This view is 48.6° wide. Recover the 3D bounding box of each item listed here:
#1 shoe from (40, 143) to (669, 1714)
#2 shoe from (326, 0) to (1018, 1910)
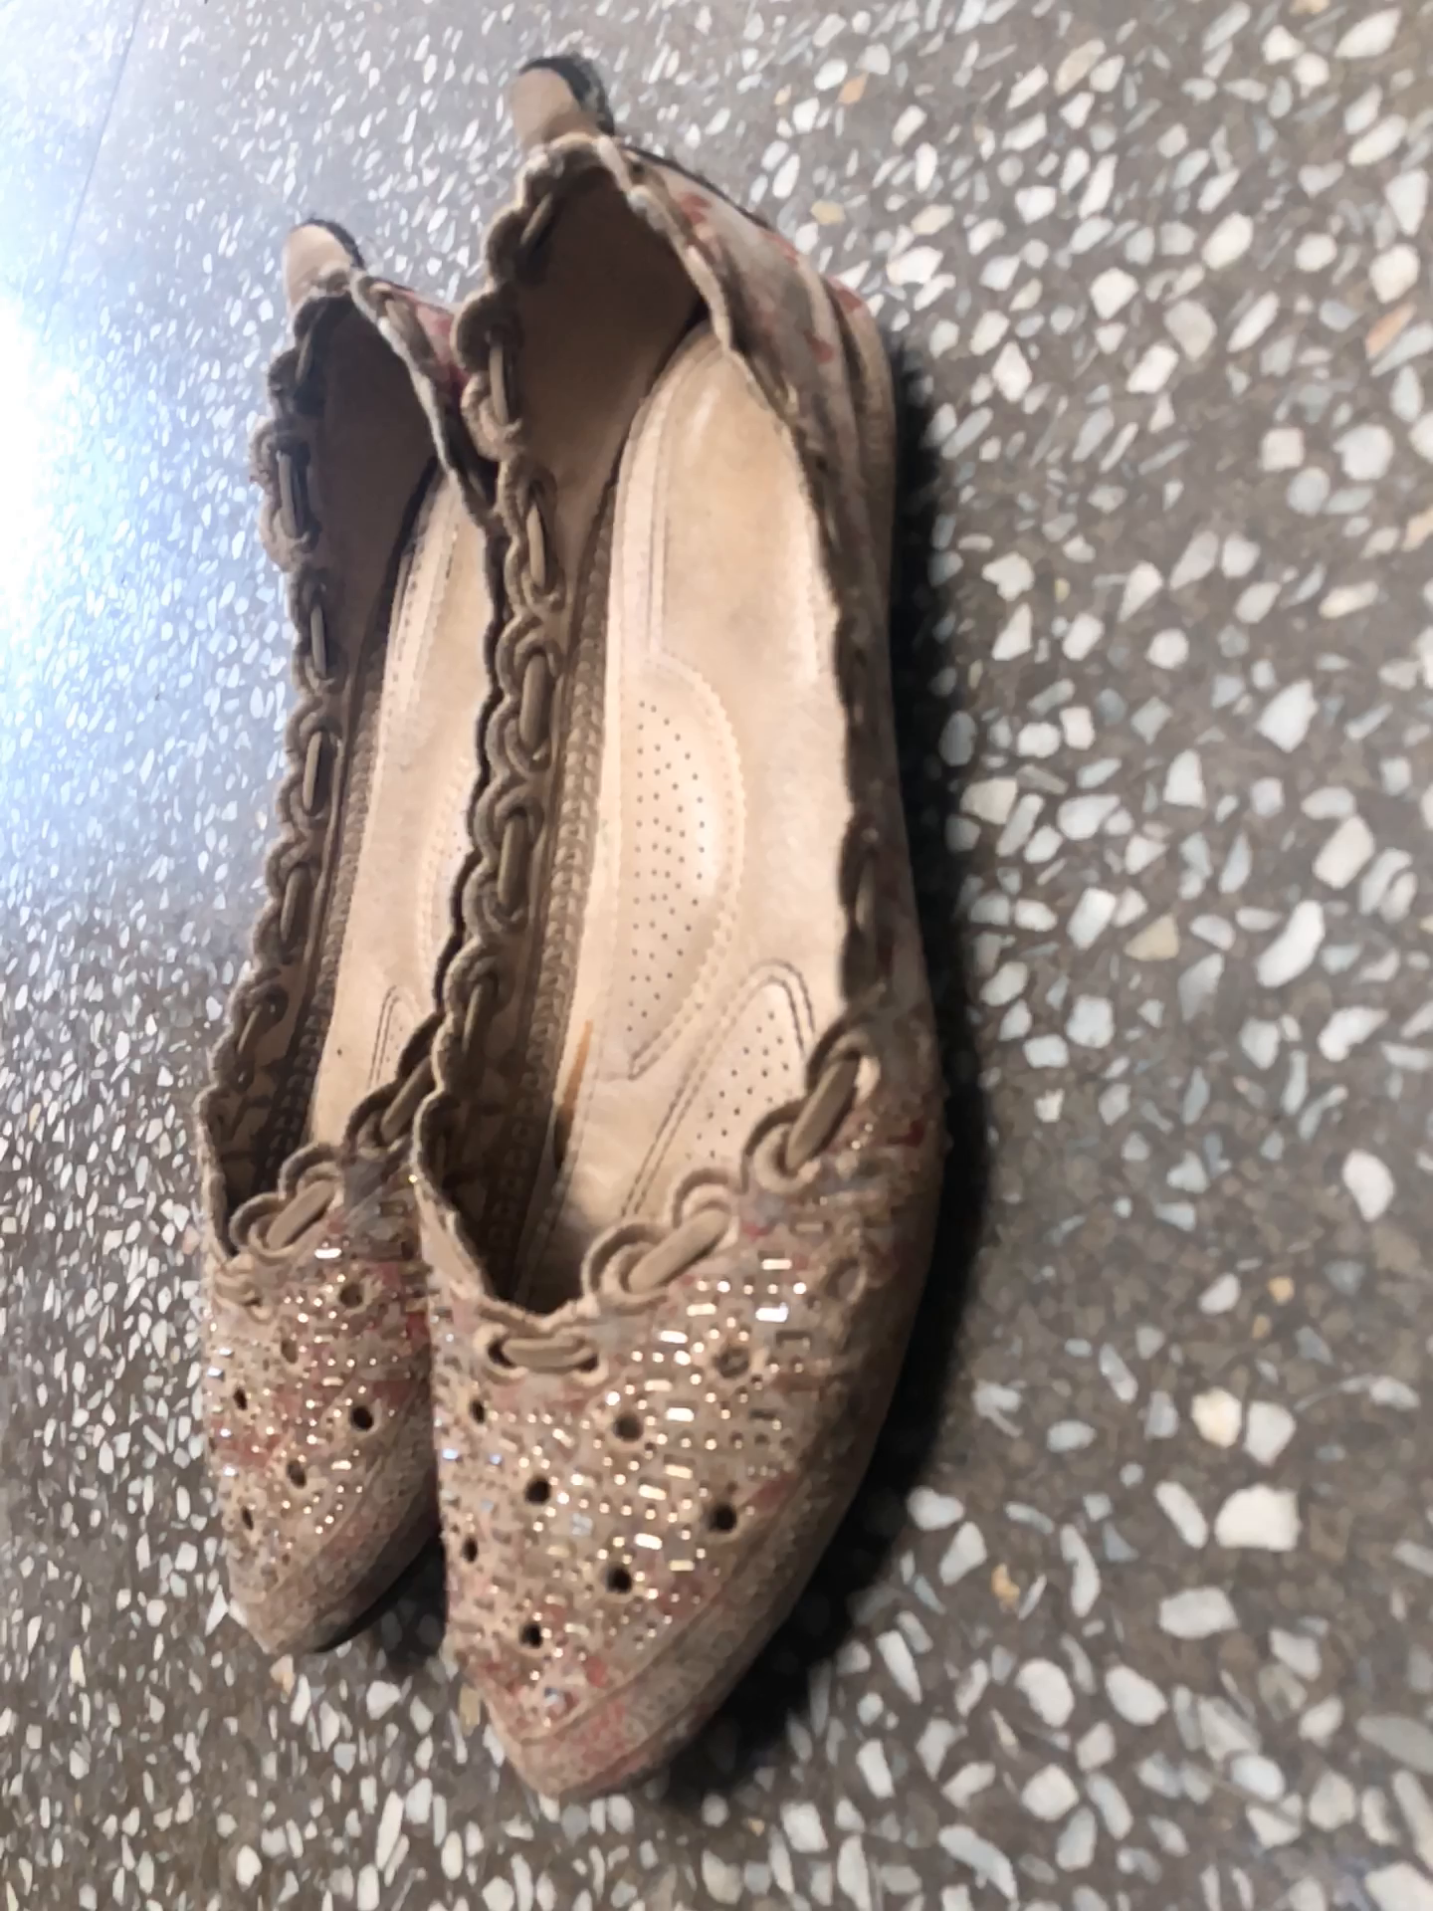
[{"bbox_3d":[-0.071,-0.011,0.320,0.091,0.040,0.280,-4,75,44],"label":"shoe"},{"bbox_3d":[-0.007,-0.010,0.250,0.091,0.040,0.270,-4,79,44],"label":"shoe"}]
